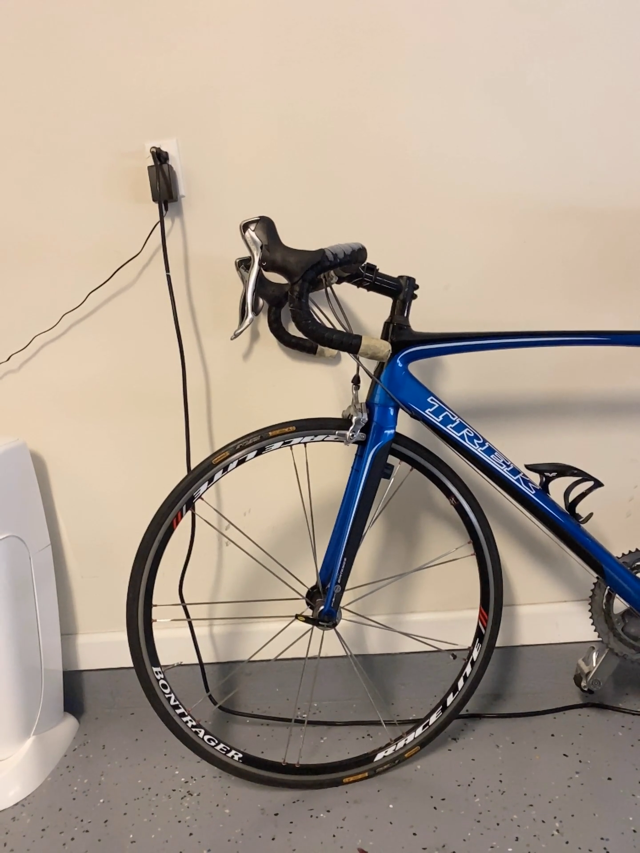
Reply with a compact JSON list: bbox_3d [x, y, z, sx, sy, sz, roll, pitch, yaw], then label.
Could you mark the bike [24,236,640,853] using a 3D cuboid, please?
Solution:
[{"bbox_3d":[0.547,0.187,1.017,1.638,0.883,0.401,-3,7,-6],"label":"bike"}]
